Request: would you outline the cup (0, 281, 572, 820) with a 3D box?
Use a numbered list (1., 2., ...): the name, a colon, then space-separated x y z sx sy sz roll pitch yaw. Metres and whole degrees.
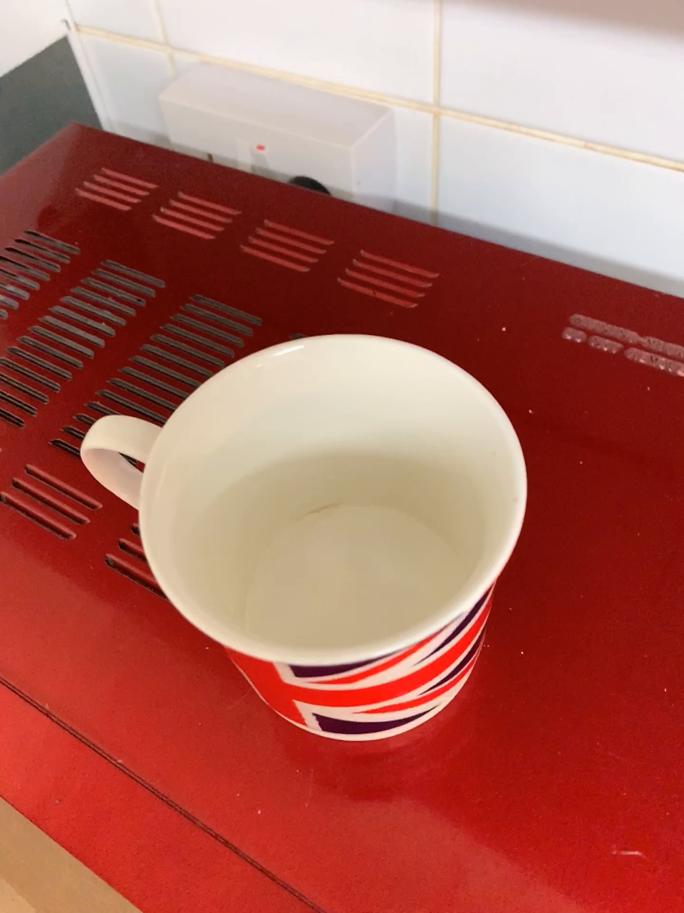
1. cup: -0.016 0.023 0.188 0.120 0.079 0.080 17 58 17
